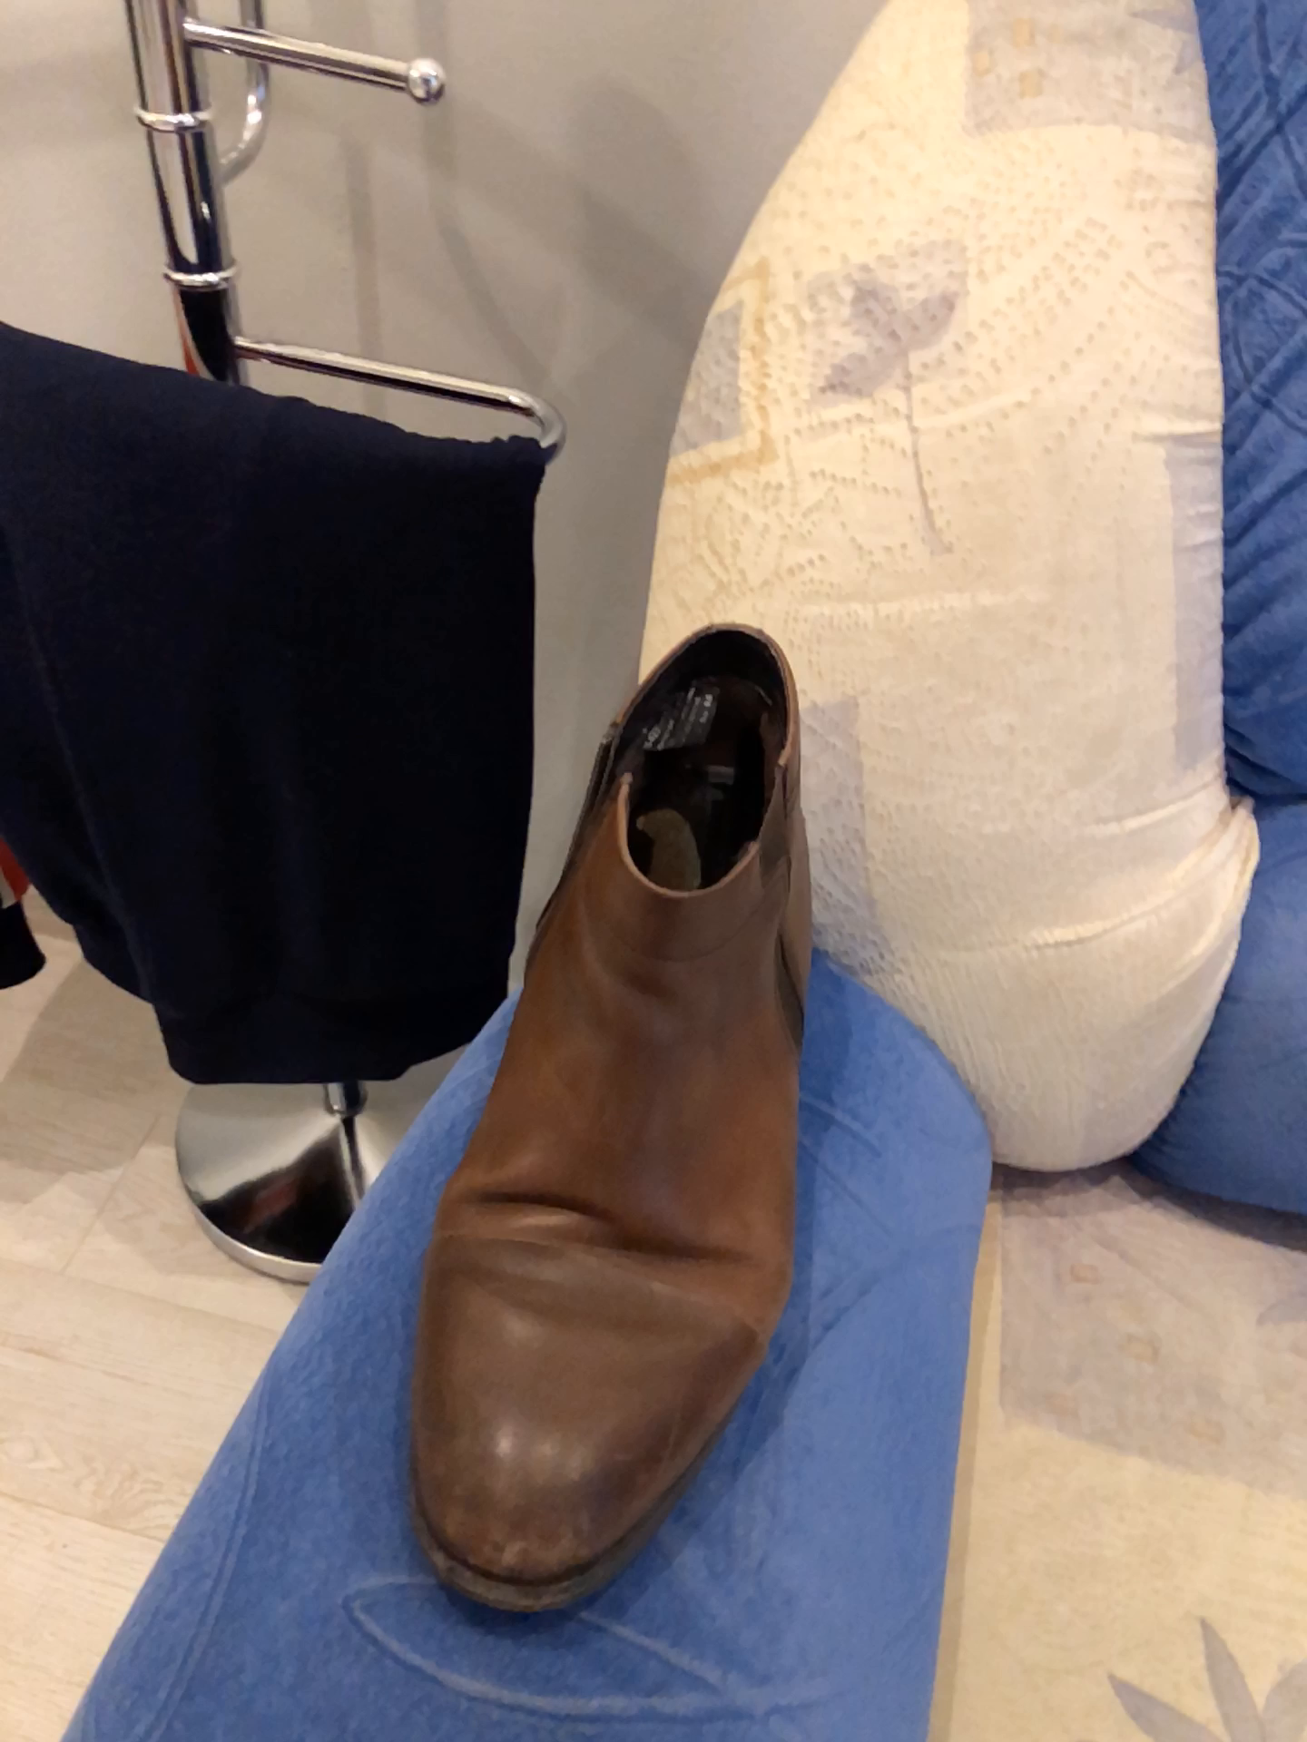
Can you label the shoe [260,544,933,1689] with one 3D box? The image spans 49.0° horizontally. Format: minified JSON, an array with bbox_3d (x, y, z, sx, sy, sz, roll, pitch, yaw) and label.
[{"bbox_3d":[0.006,0.047,0.441,0.110,0.139,0.312,11,44,8],"label":"shoe"}]
